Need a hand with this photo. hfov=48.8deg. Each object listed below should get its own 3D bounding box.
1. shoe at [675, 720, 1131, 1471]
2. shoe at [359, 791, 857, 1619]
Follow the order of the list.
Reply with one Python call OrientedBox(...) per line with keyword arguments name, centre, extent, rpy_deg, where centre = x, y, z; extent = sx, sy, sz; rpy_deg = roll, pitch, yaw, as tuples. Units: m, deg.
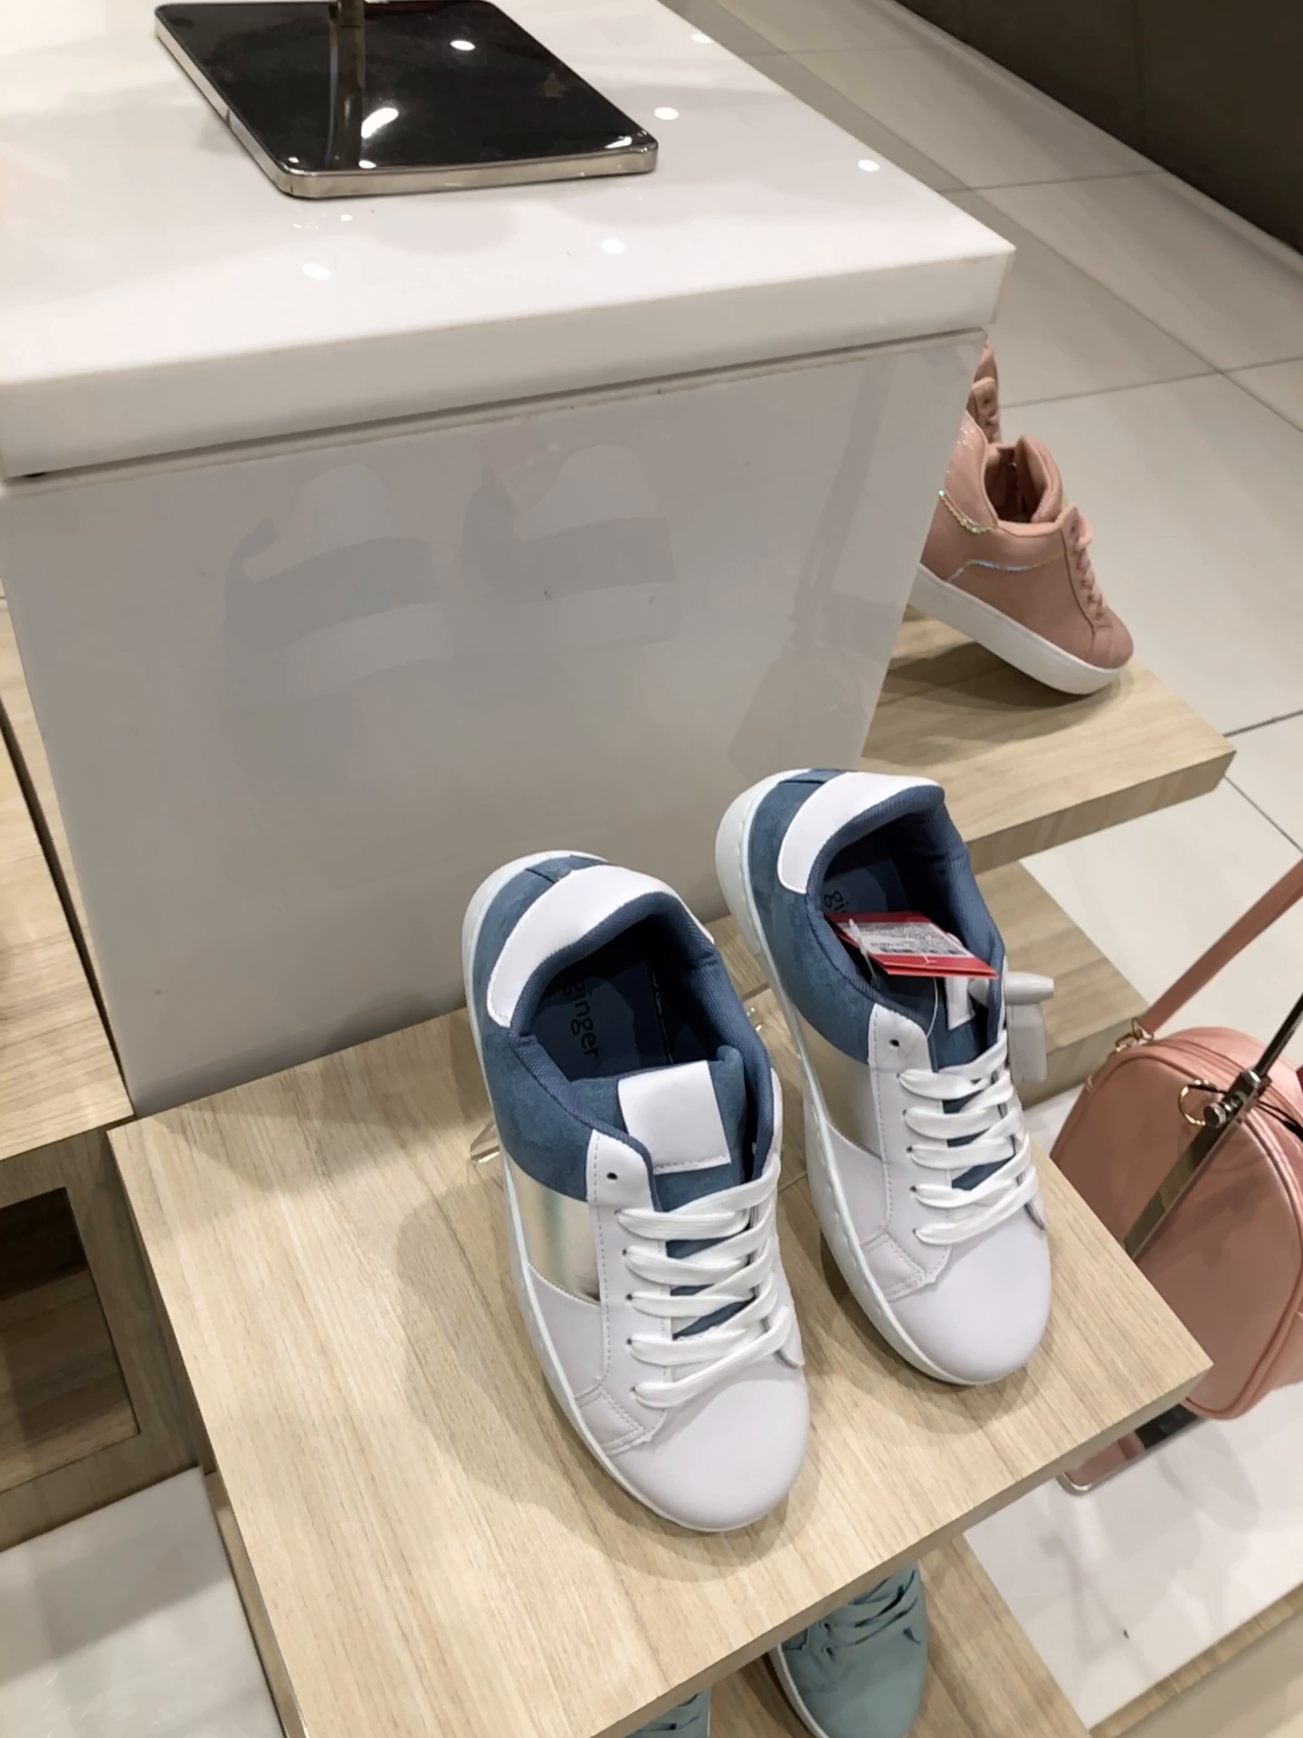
OrientedBox(name="shoe", centre=(0.100, 0.080, 0.569), extent=(0.100, 0.260, 0.090), rpy_deg=(-17, 11, -24))
OrientedBox(name="shoe", centre=(-0.016, 0.111, 0.523), extent=(0.100, 0.260, 0.090), rpy_deg=(-17, 11, -24))
